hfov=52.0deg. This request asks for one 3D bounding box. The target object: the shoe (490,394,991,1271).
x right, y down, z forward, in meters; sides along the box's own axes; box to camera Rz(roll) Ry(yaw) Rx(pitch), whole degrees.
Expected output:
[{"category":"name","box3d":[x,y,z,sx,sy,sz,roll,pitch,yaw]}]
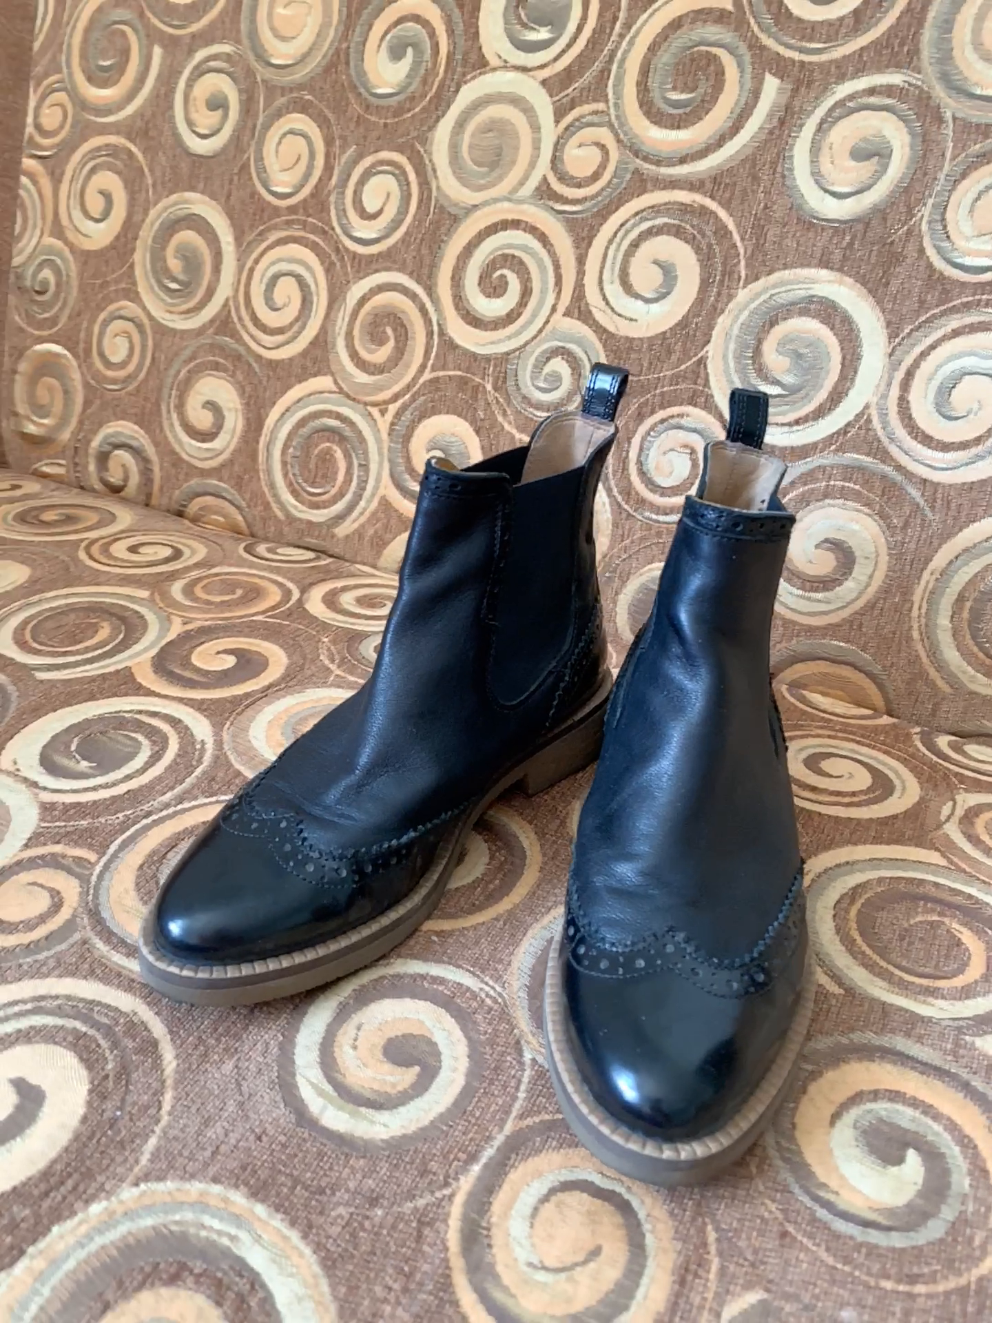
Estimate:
[{"category":"shoe","box3d":[0.080,0.020,0.362,0.100,0.139,0.291,8,32,10]}]

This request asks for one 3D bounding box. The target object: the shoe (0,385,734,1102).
[{"category":"shoe","box3d":[-0.029,0.005,0.367,0.100,0.139,0.241,25,39,33]}]
